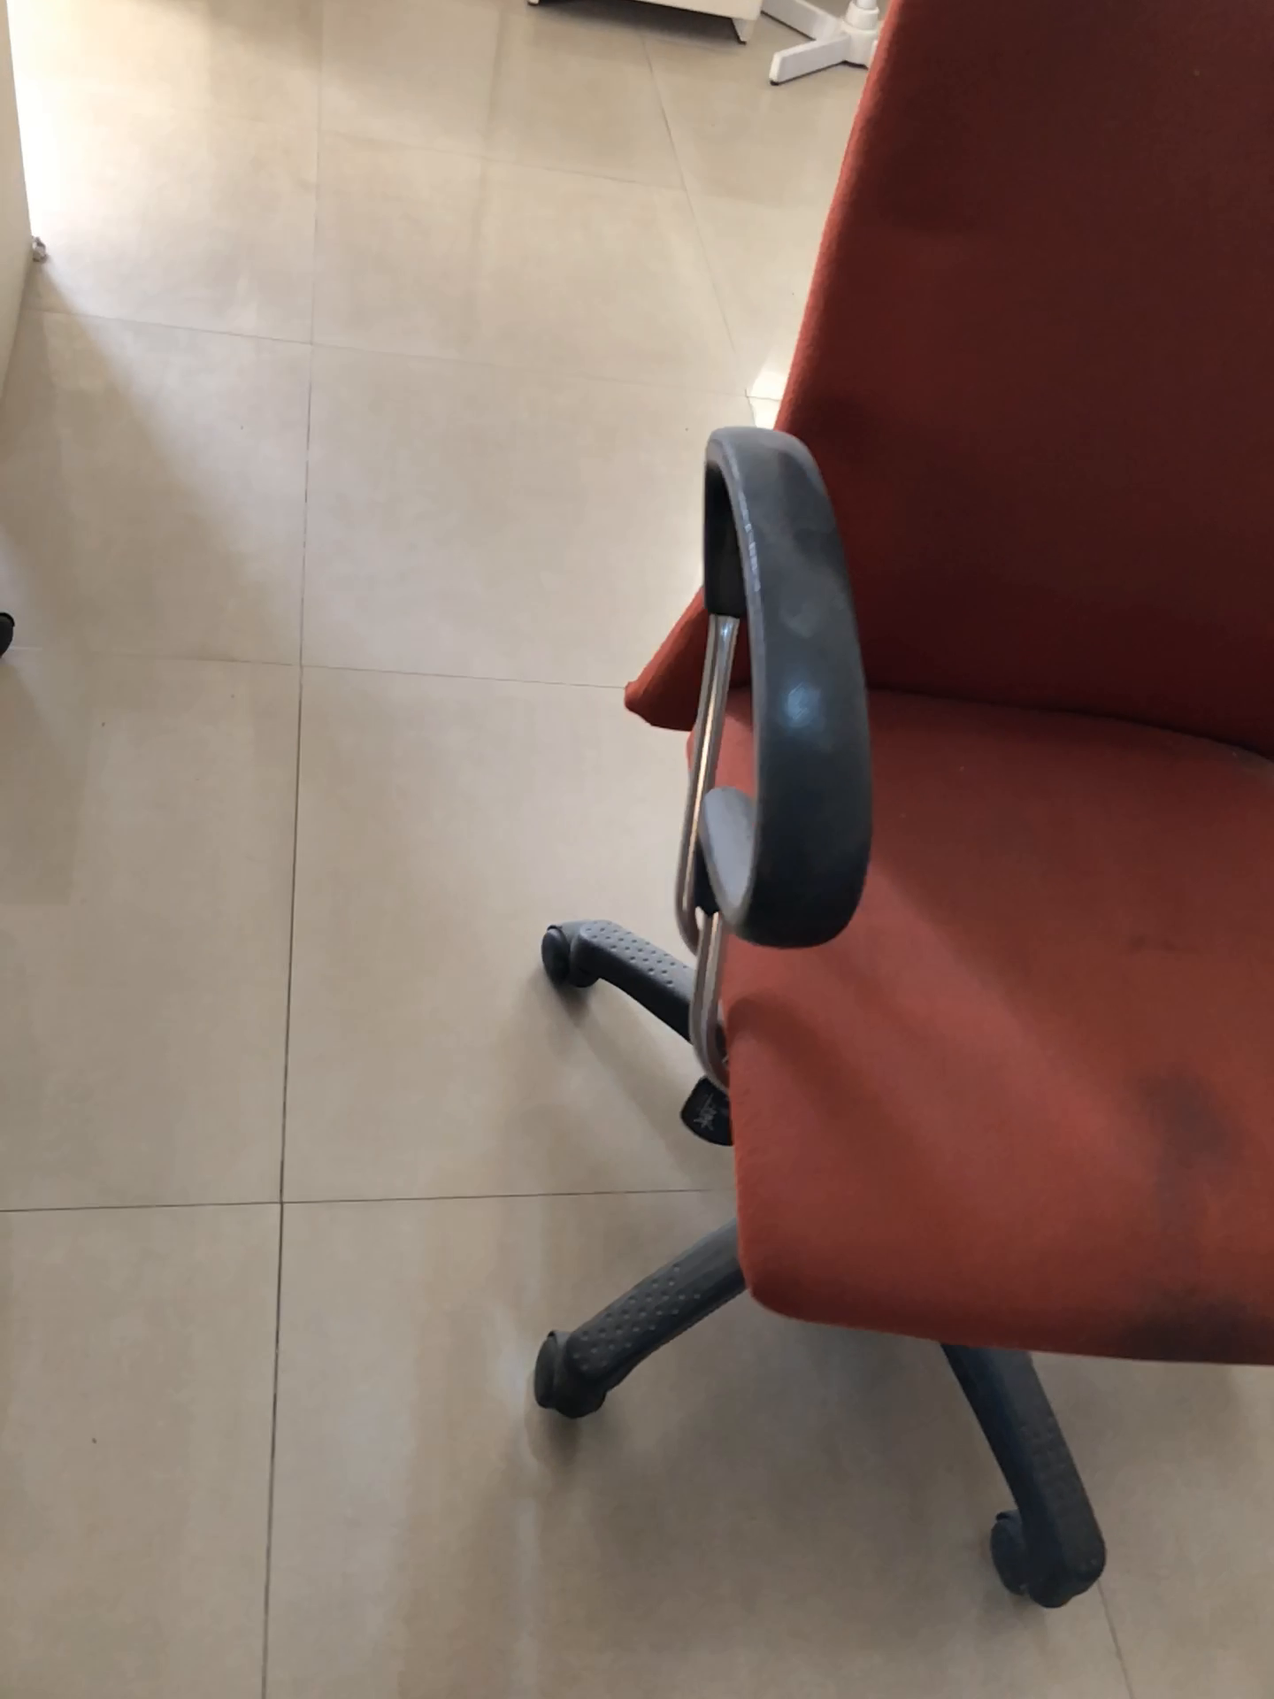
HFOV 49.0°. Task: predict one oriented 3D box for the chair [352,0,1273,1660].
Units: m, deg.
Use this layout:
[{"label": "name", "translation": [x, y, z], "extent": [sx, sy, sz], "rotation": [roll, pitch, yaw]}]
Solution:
[{"label": "chair", "translation": [0.274, 0.024, 0.926], "extent": [0.771, 1.042, 0.705], "rotation": [7, 49, -10]}]
